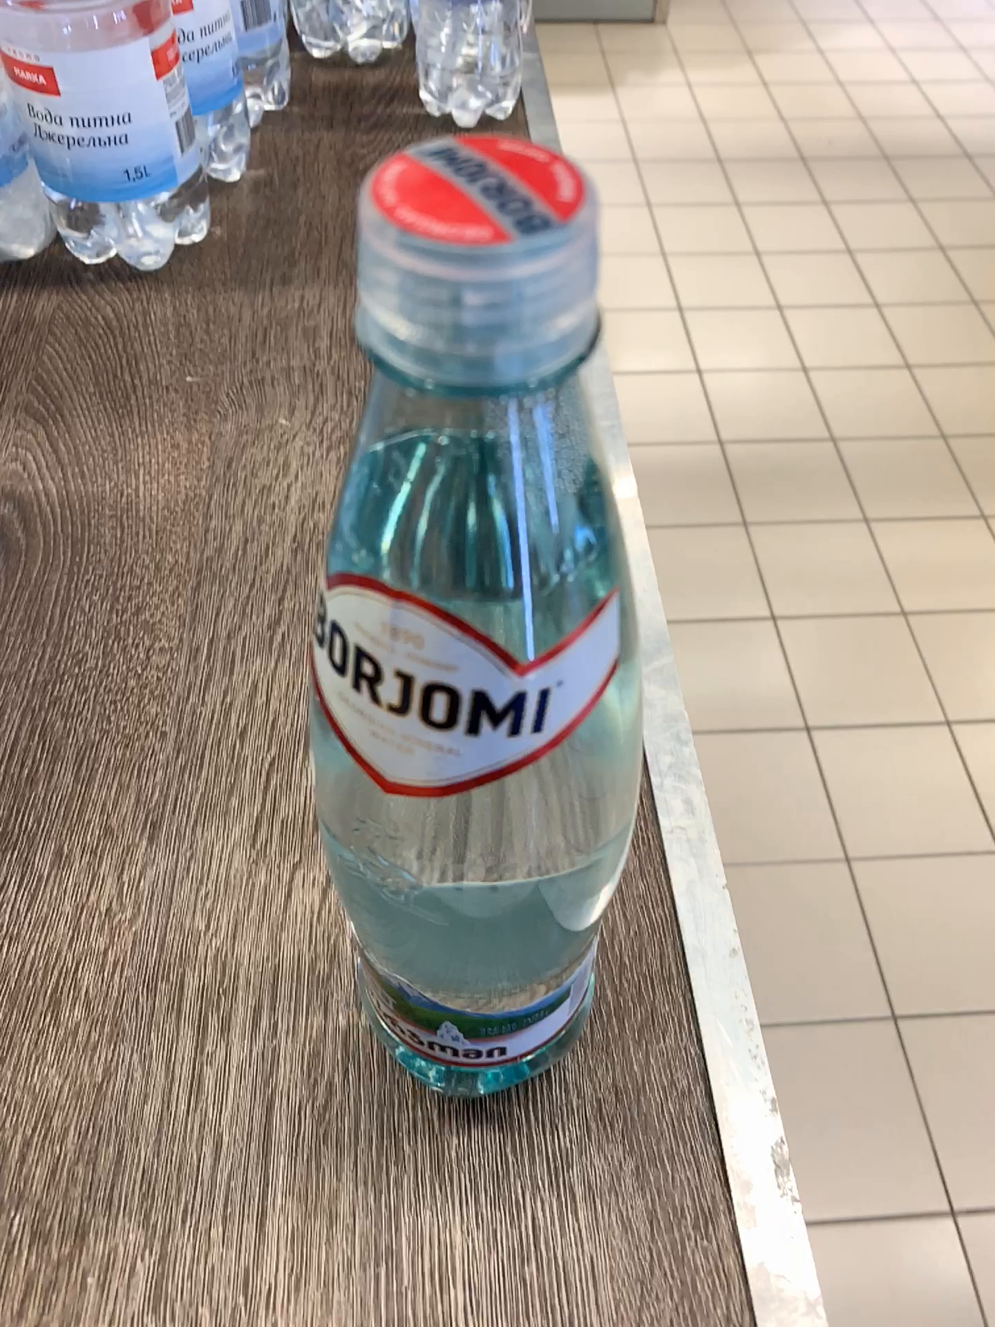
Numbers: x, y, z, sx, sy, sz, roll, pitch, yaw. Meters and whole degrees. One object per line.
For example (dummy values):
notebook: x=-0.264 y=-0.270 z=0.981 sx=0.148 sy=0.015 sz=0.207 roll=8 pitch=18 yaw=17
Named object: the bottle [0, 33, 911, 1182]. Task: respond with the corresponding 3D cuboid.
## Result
bottle: x=-0.007 y=0.023 z=0.211 sx=0.080 sy=0.239 sz=0.070 roll=30 pitch=57 yaw=20
